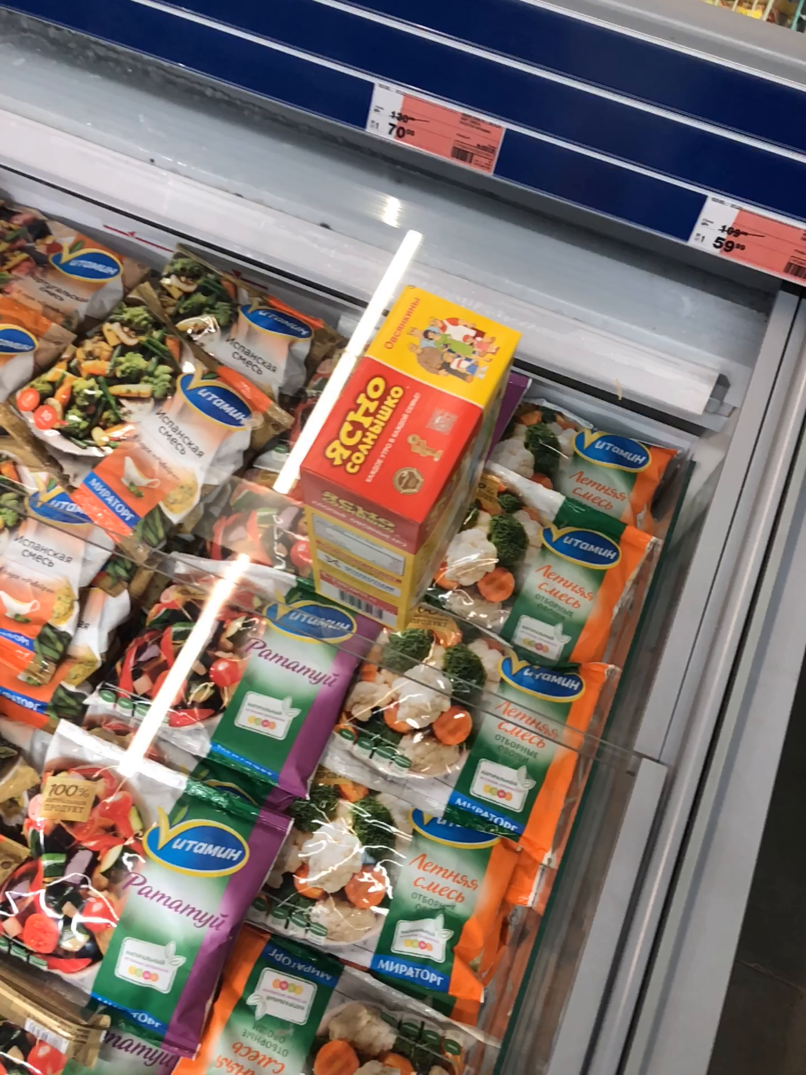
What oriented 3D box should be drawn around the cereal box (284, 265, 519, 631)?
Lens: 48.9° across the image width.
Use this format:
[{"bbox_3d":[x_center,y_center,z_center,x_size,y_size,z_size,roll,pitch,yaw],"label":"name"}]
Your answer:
[{"bbox_3d":[-0.005,-0.039,0.523,0.070,0.199,0.120,25,69,6],"label":"cereal box"}]
